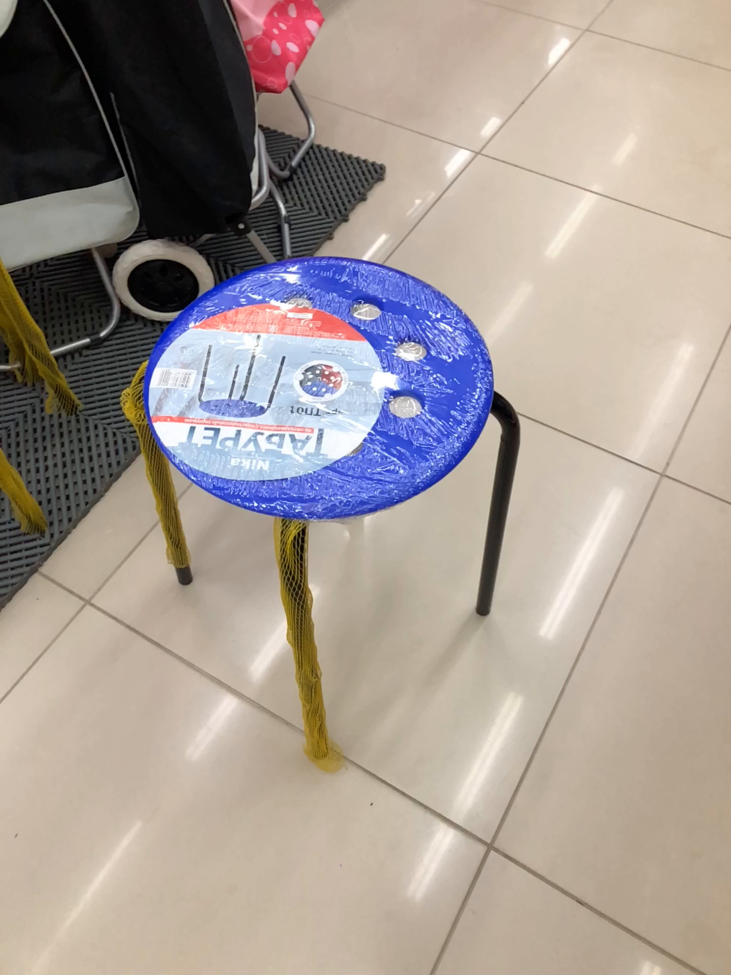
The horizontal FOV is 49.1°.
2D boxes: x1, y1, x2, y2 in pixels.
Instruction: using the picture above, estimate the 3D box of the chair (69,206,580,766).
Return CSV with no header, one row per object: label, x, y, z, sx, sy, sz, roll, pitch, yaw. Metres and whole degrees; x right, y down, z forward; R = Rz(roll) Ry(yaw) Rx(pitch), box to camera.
chair,-0.040,0.014,0.882,0.321,0.426,0.324,-35,62,-22
